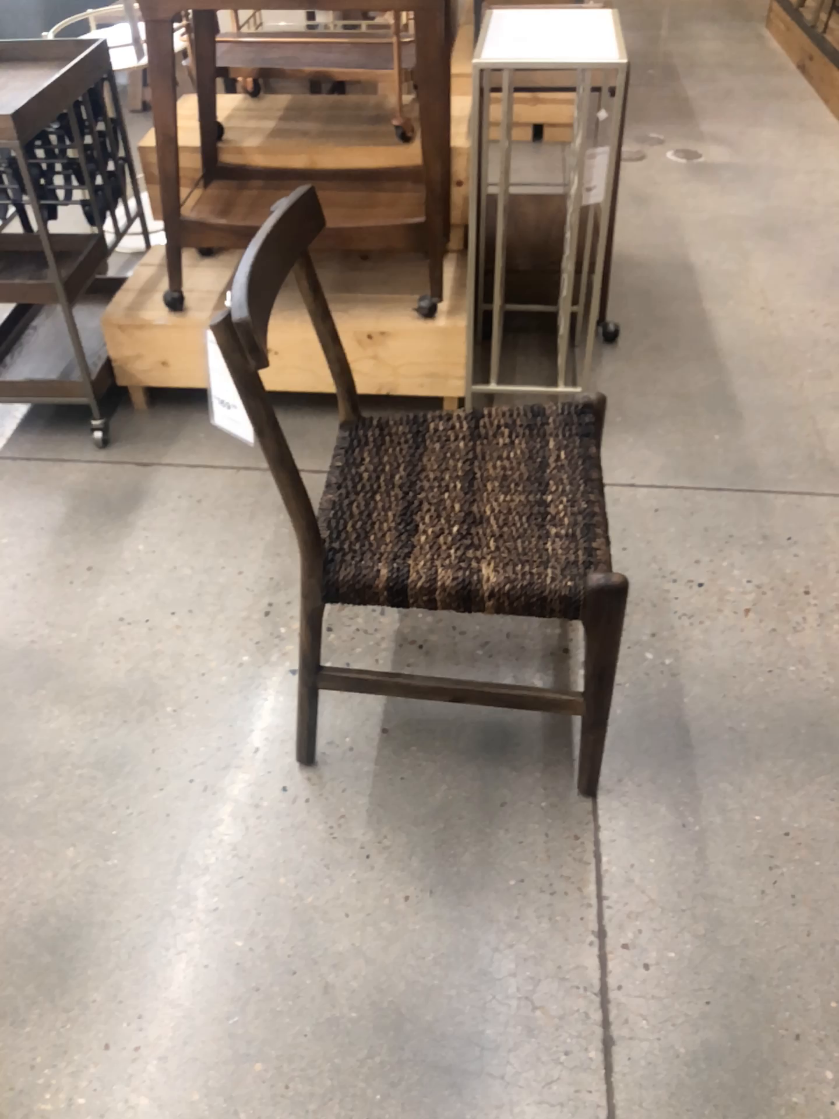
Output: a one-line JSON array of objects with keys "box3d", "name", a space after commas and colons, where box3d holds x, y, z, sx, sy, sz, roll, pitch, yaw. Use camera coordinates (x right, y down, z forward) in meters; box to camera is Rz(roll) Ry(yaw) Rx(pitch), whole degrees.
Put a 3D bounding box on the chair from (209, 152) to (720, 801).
[{"box3d": [0.069, -0.114, 1.437, 0.532, 0.816, 0.551, 2, 41, 4], "name": "chair"}]
